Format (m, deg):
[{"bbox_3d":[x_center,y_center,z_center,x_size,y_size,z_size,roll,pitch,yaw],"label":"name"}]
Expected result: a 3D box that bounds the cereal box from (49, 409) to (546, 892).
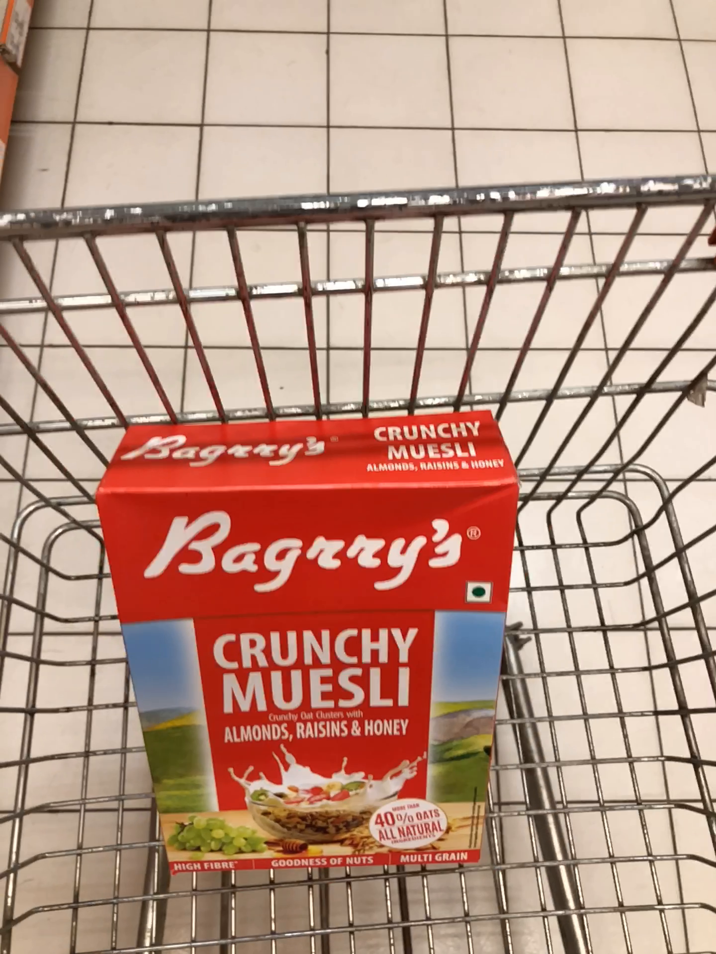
[{"bbox_3d":[-0.023,0.104,0.407,0.190,0.279,0.060,-2,34,-2],"label":"cereal box"}]
